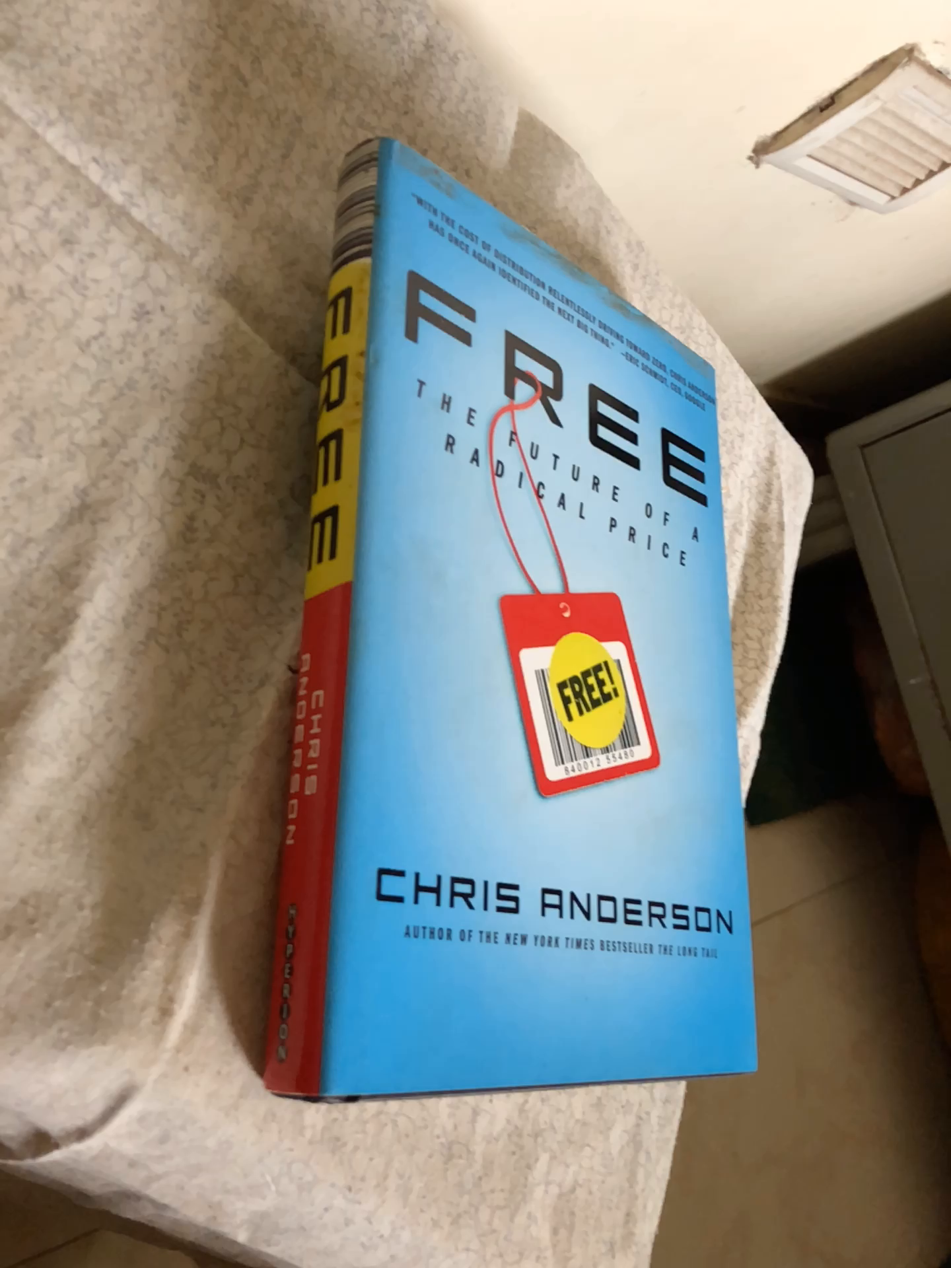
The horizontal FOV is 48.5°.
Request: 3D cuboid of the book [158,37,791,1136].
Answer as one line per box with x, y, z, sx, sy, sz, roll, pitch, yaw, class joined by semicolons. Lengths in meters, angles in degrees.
0.012;-0.011;0.319;0.181;0.040;0.280;17;63;-39;book
